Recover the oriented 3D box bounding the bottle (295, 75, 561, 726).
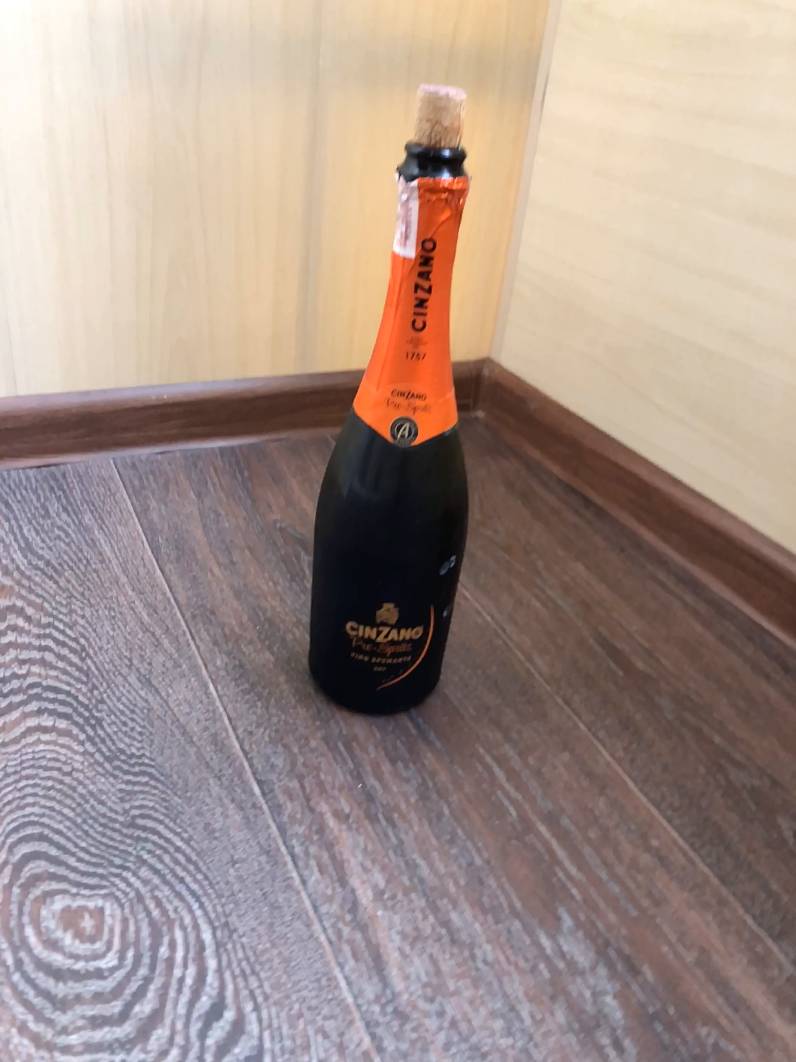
[{"bbox_3d":[0.000,-0.054,0.473,0.092,0.328,0.101,5,30,-3],"label":"bottle"}]
